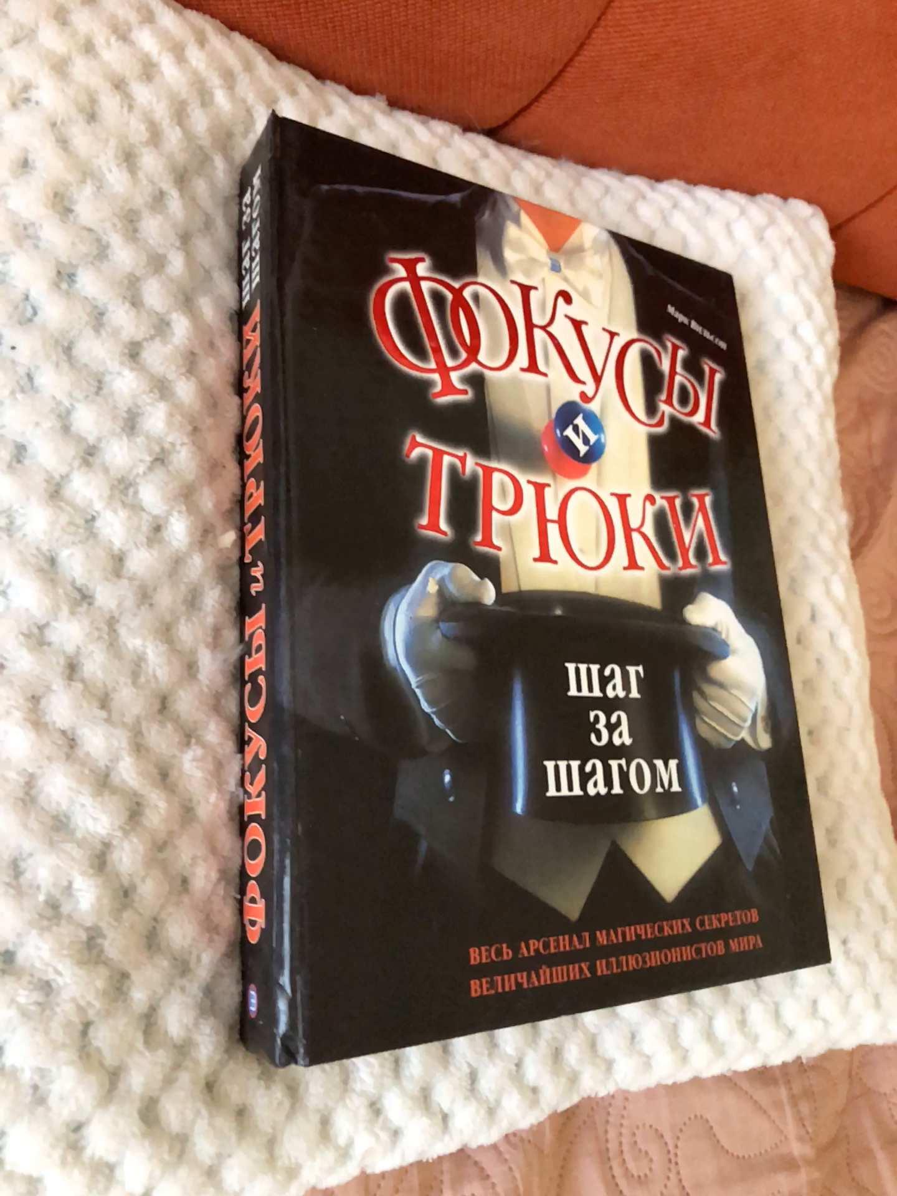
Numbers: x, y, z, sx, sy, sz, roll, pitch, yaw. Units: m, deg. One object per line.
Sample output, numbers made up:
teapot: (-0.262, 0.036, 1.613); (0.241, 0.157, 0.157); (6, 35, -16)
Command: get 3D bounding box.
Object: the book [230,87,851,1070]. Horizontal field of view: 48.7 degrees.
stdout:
book: (0.032, -0.010, 0.332); (0.201, 0.040, 0.270); (5, 74, -32)
